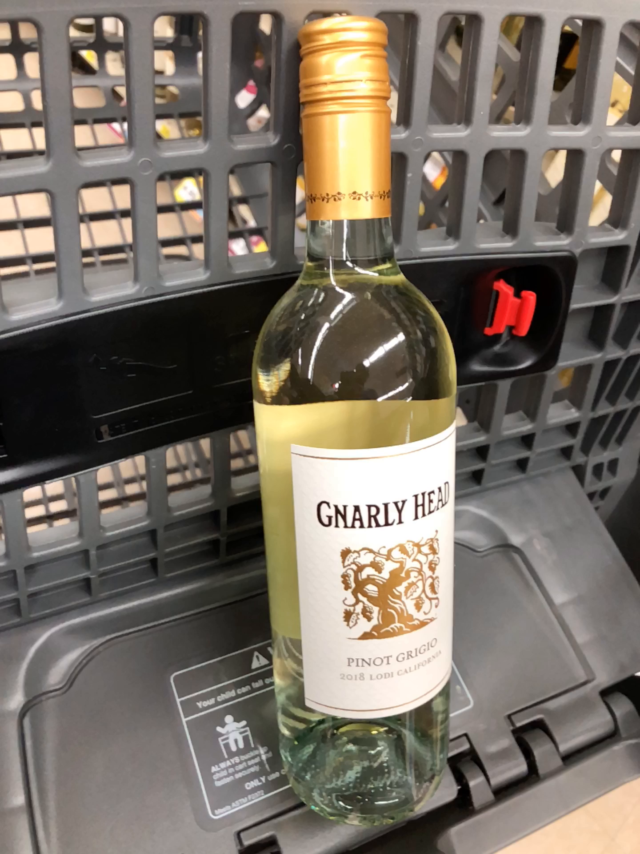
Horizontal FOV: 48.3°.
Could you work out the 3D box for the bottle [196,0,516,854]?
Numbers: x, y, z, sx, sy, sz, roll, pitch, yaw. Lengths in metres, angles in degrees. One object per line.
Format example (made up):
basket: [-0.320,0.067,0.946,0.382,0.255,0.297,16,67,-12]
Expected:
bottle: [0.015,0.007,0.261,0.080,0.070,0.280,-9,106,-18]
